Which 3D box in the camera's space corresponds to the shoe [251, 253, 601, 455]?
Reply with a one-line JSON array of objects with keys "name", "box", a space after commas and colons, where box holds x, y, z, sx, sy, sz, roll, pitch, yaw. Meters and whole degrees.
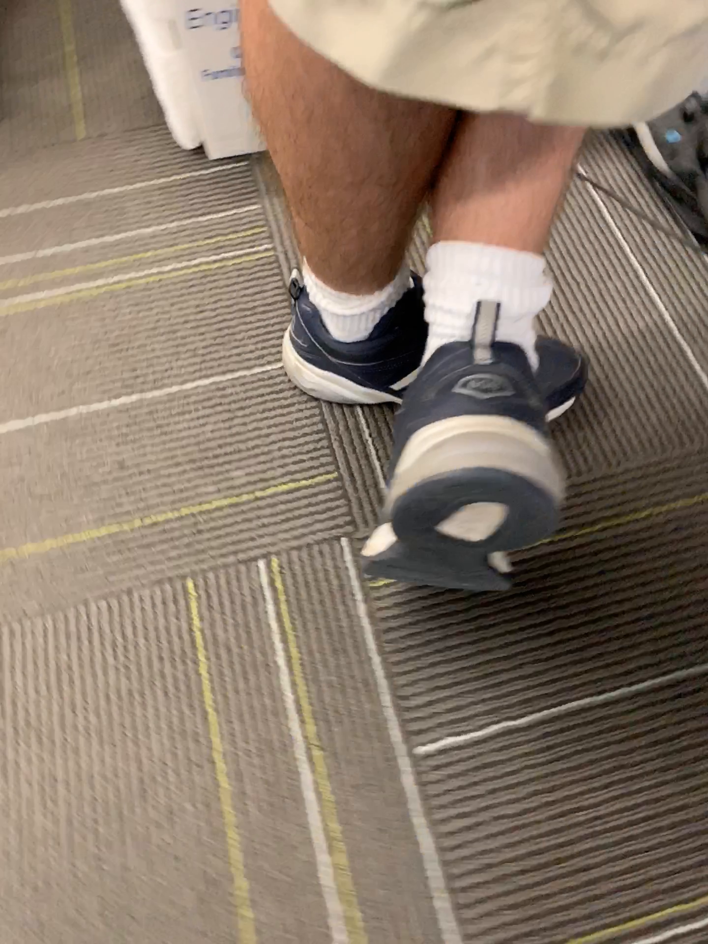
[{"name": "shoe", "box": [0.068, -0.114, 0.684, 0.296, 0.077, 0.121, 11, 63, 8]}]

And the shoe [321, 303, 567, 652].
[{"name": "shoe", "box": [0.060, 0.027, 0.521, 0.122, 0.292, 0.129, 5, 65, 6]}]
